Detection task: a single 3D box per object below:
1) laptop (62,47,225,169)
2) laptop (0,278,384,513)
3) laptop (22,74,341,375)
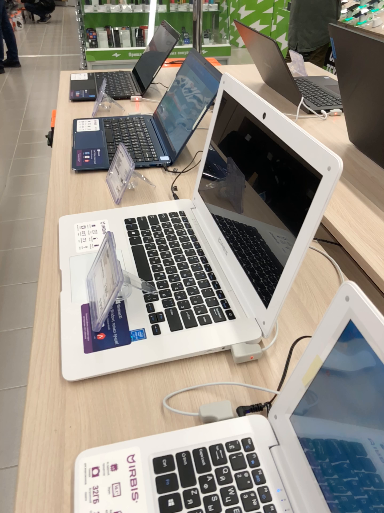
[{"bbox_3d":[-0.118,-0.352,0.960,0.310,0.158,0.299,-7,37,-10],"label":"laptop"},{"bbox_3d":[0.034,0.171,0.241,0.221,0.167,0.261,-7,35,-10],"label":"laptop"},{"bbox_3d":[-0.042,-0.076,0.549,0.279,0.207,0.335,-9,37,-11],"label":"laptop"}]
